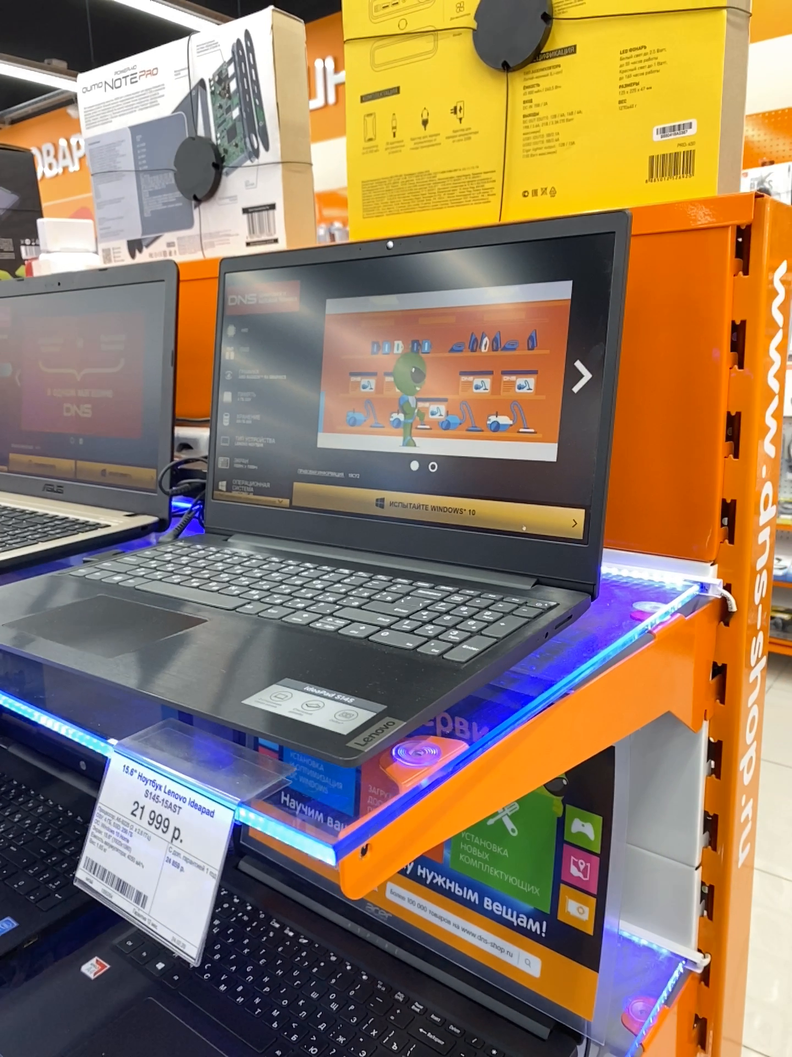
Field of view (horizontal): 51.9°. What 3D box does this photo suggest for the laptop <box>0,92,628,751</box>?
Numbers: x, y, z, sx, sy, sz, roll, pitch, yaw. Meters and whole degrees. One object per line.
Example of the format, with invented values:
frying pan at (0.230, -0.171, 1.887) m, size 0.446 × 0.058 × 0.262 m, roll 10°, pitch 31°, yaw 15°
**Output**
laptop at (-0.086, -0.072, 0.510) m, size 0.359 × 0.233 × 0.297 m, roll 6°, pitch 14°, yaw 35°
